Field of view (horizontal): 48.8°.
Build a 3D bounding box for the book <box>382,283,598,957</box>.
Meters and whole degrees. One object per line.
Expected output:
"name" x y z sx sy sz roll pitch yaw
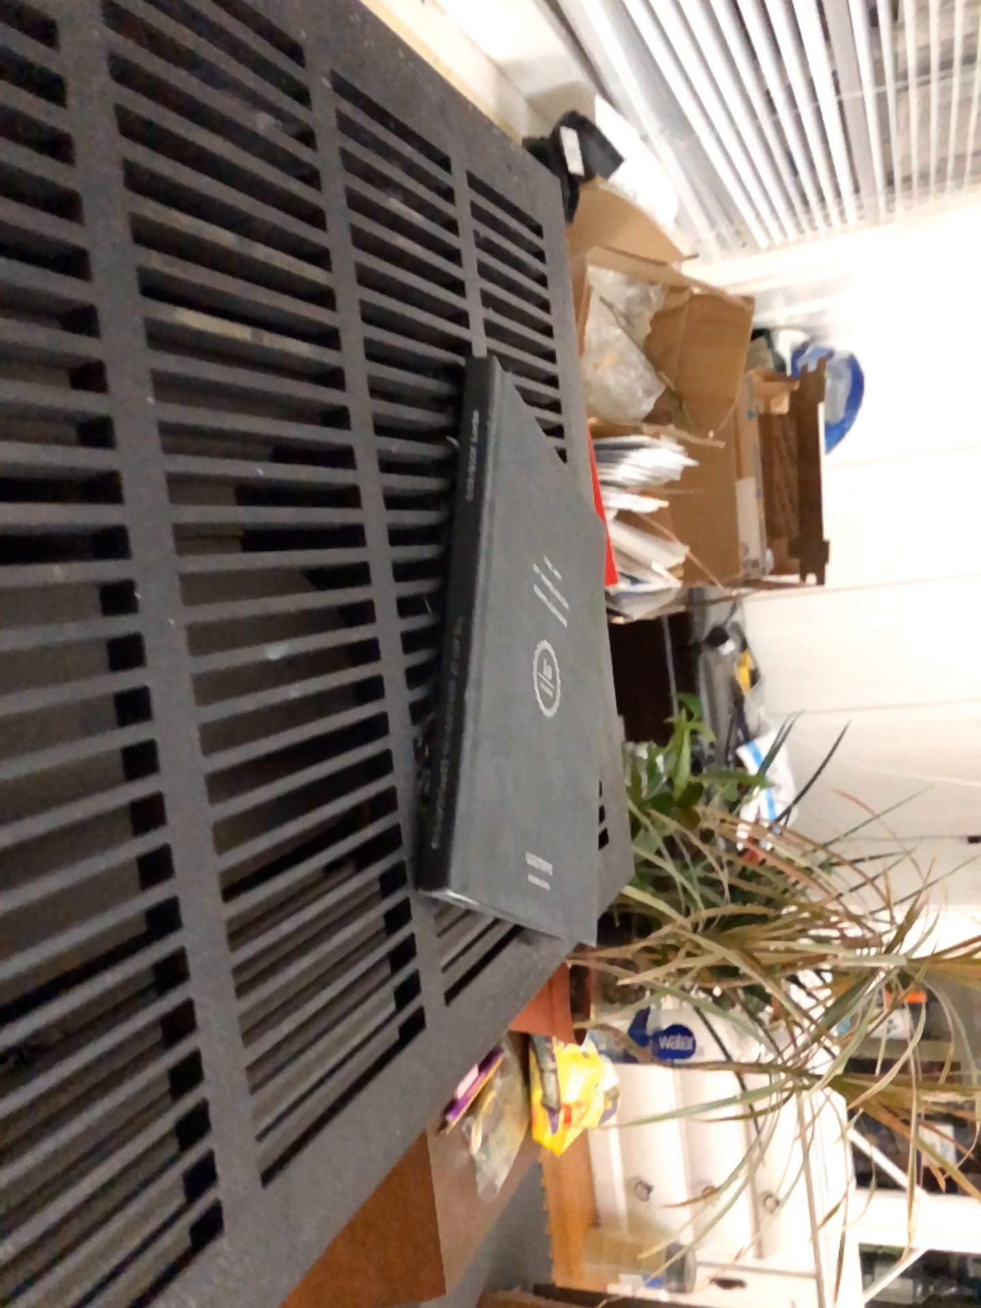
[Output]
"book" 0.011 -0.006 0.468 0.161 0.020 0.250 41 48 -59
